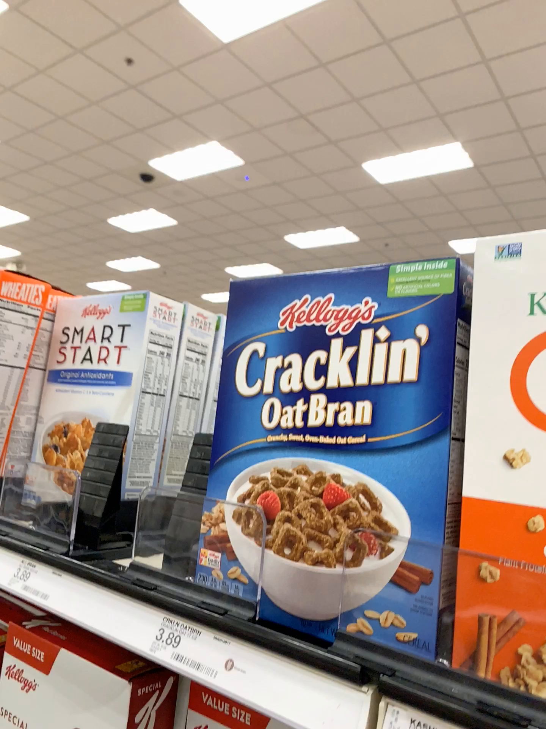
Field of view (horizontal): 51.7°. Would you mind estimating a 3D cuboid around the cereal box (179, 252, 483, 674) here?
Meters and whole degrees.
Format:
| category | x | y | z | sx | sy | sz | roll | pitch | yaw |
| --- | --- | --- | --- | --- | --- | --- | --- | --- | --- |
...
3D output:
| category | x | y | z | sx | sy | sz | roll | pitch | yaw |
| --- | --- | --- | --- | --- | --- | --- | --- | --- | --- |
| cereal box | 0.037 | 0.052 | 0.397 | 0.190 | 0.240 | 0.050 | 1 | -9 | 33 |
